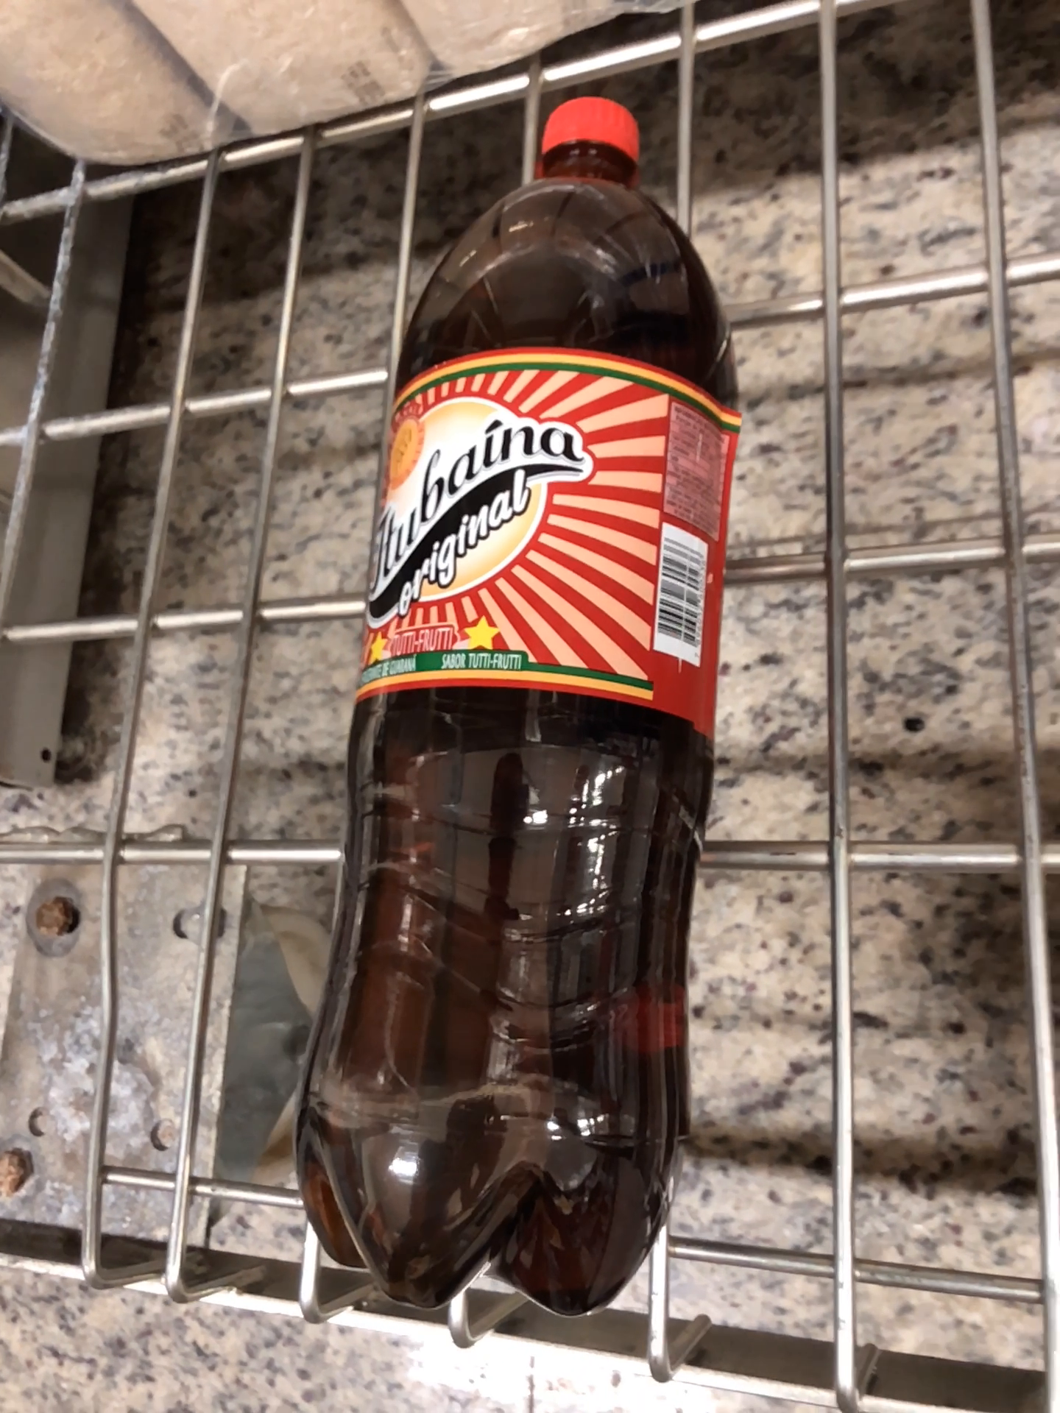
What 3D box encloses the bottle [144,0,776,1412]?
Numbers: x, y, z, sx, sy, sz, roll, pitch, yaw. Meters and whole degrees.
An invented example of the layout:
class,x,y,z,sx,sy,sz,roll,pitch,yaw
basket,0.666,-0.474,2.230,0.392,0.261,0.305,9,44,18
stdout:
class,x,y,z,sx,sy,sz,roll,pitch,yaw
bottle,-0.007,-0.013,0.294,0.110,0.070,0.320,0,78,23
